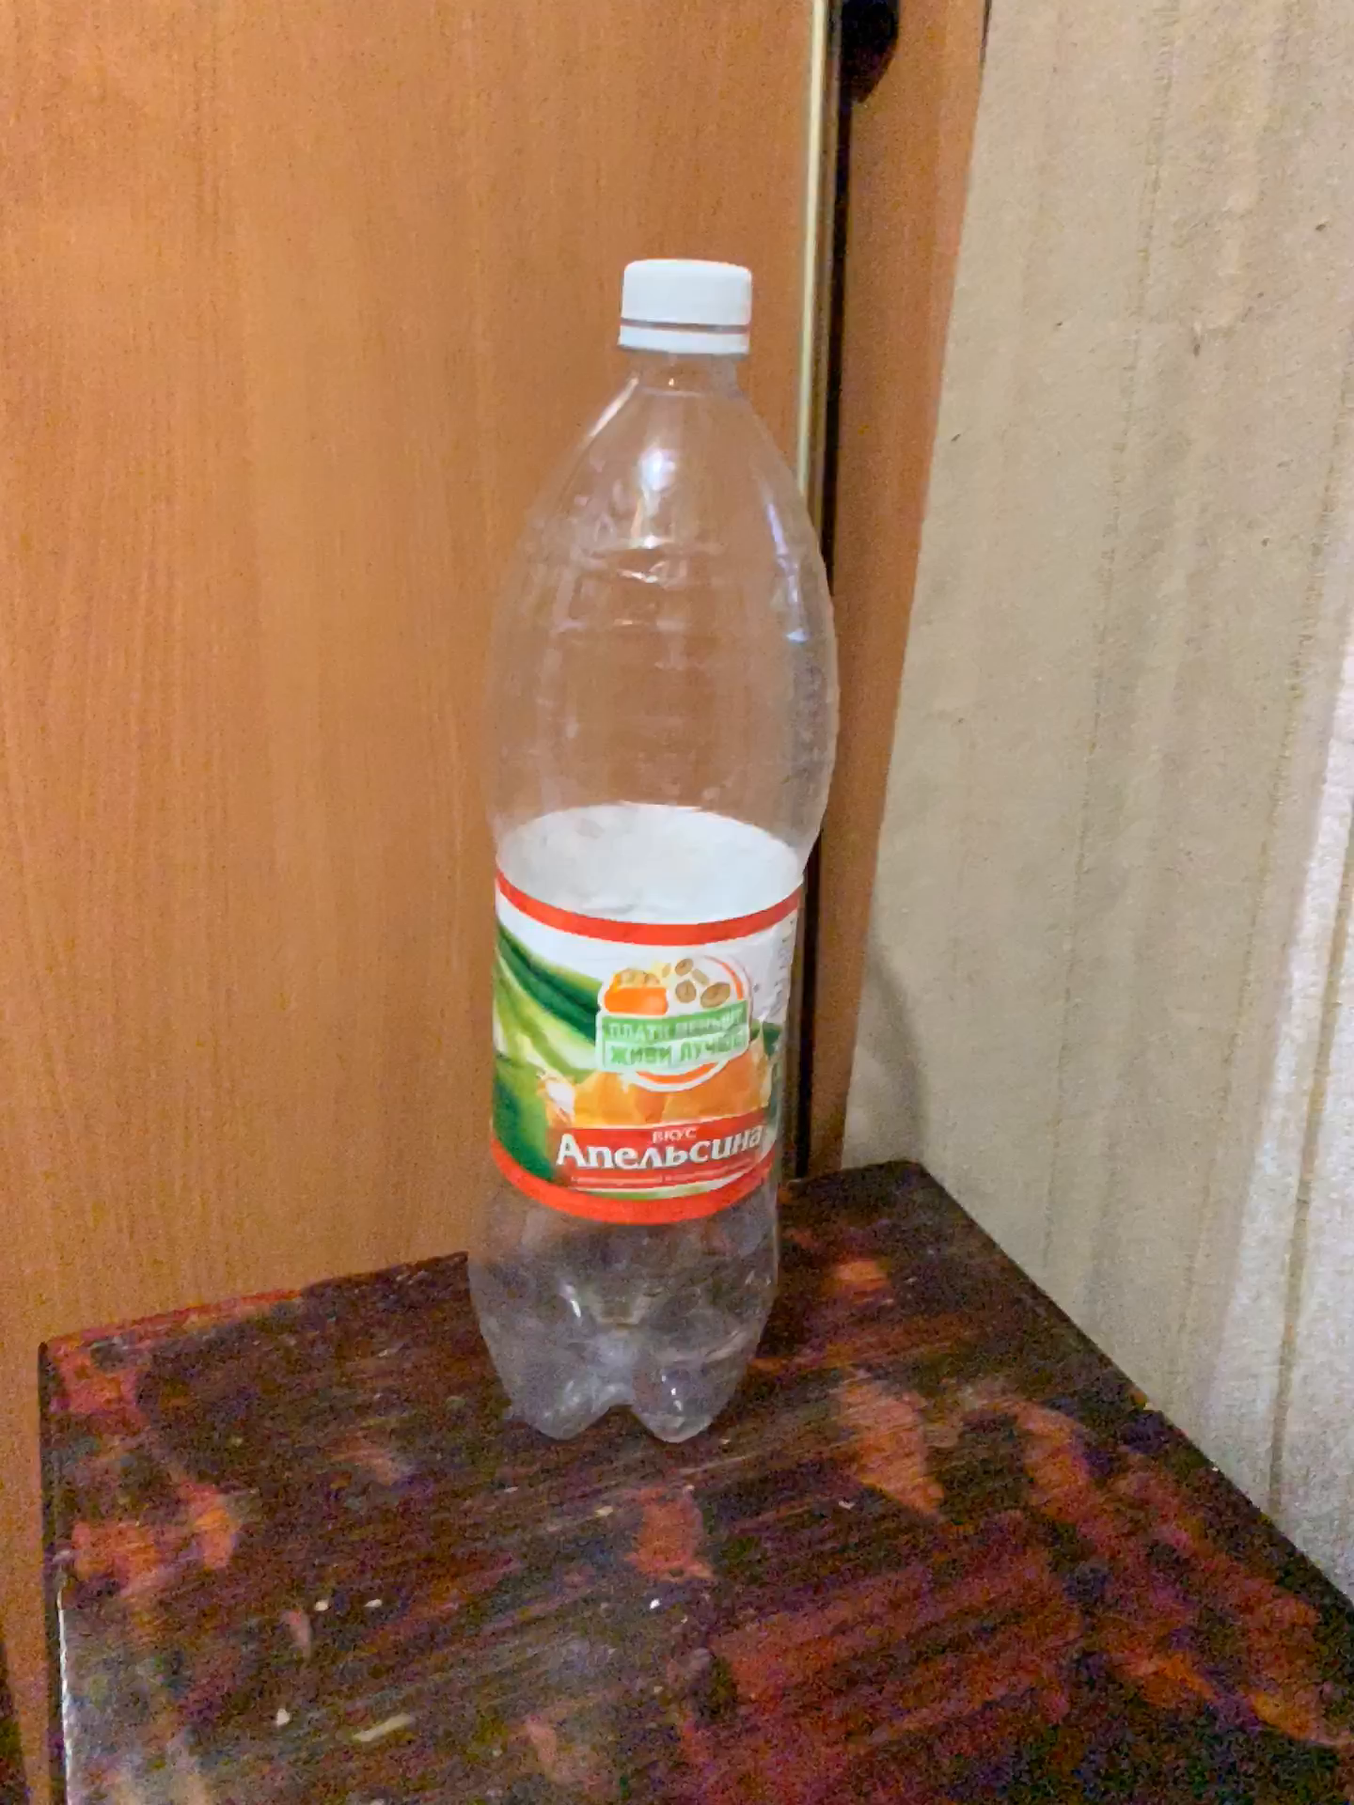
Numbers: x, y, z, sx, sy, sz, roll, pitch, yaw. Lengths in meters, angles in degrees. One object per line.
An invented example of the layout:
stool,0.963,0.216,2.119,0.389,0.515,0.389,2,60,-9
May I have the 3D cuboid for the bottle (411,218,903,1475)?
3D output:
bottle,-0.012,-0.008,0.386,0.100,0.318,0.101,1,21,0
